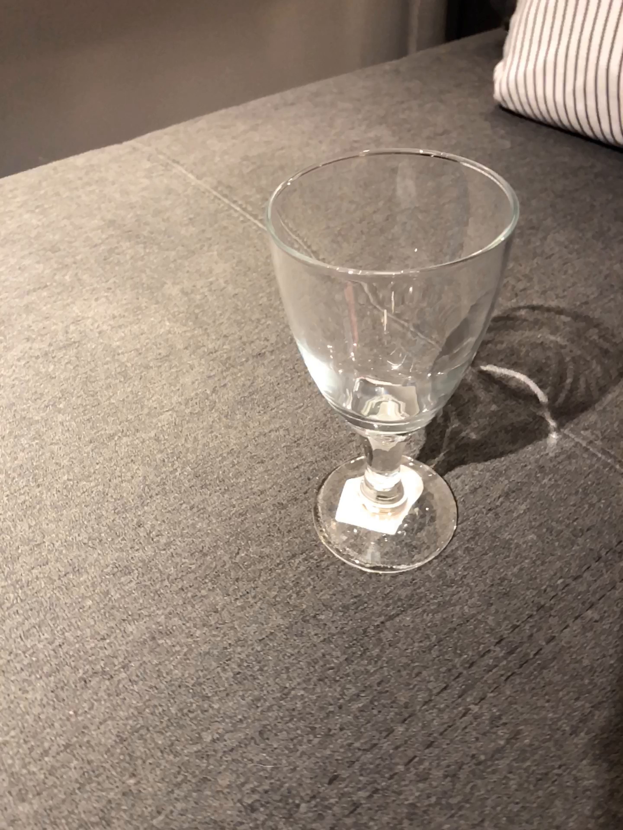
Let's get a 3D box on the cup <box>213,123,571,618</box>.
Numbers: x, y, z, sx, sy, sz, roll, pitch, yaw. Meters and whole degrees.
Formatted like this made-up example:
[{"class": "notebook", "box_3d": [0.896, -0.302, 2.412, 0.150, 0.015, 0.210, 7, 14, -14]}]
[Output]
[{"class": "cup", "box_3d": [0.033, -0.013, 0.290, 0.090, 0.169, 0.090, -2, 44, 2]}]
